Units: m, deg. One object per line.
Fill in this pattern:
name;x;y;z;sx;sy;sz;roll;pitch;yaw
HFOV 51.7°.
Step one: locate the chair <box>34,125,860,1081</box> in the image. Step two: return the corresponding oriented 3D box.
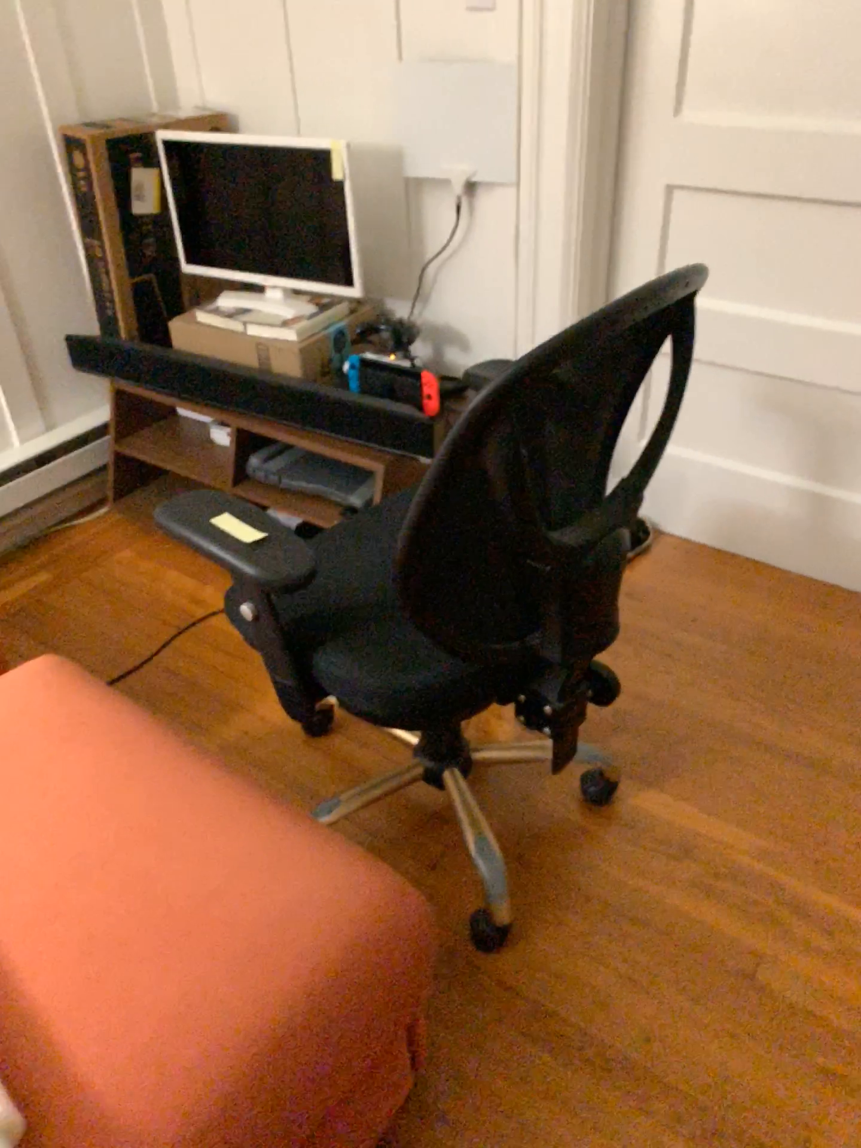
chair;0.019;0.010;1.248;0.641;0.974;0.663;-29;48;-32
